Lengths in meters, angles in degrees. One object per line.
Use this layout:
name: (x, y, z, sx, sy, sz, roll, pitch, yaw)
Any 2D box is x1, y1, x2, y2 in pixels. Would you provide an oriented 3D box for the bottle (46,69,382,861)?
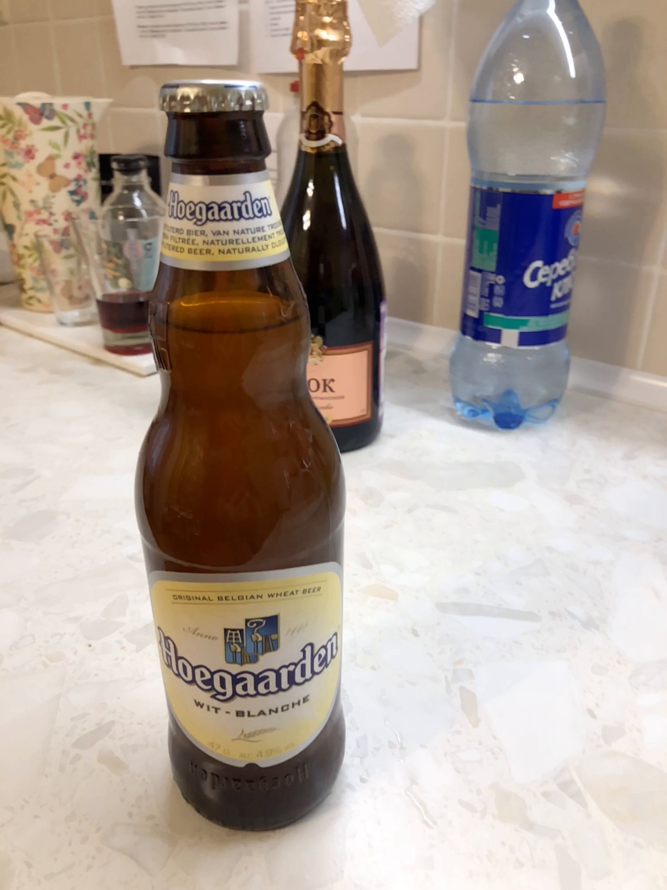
bottle: (-0.026, 0.016, 0.244, 0.070, 0.248, 0.081, 0, 26, -1)
